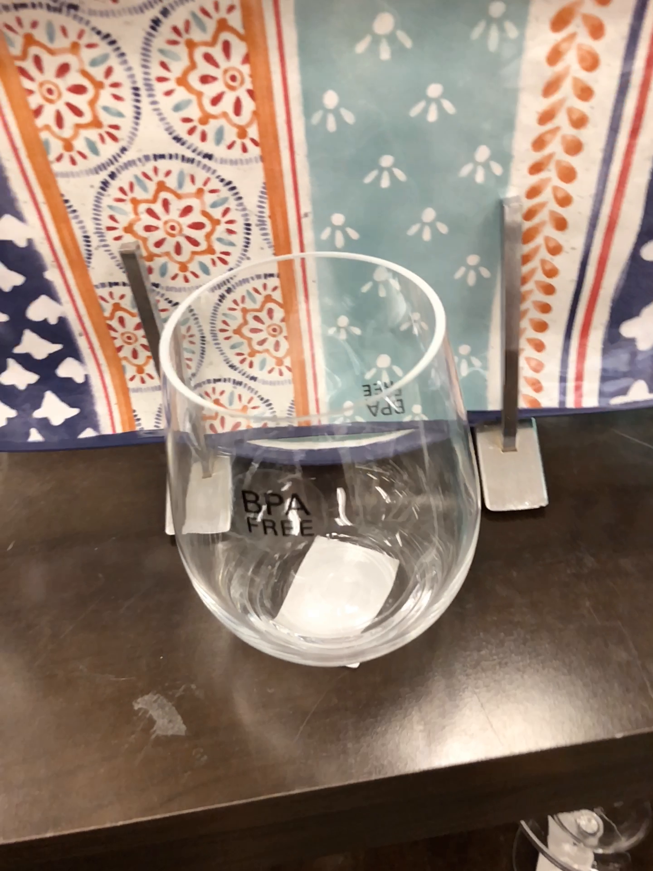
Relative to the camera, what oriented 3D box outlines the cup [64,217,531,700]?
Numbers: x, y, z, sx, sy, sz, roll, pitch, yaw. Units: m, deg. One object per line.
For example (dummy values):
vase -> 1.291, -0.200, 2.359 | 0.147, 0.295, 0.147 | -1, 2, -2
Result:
cup -> -0.002, 0.007, 0.213 | 0.094, 0.097, 0.094 | -4, 43, 4
